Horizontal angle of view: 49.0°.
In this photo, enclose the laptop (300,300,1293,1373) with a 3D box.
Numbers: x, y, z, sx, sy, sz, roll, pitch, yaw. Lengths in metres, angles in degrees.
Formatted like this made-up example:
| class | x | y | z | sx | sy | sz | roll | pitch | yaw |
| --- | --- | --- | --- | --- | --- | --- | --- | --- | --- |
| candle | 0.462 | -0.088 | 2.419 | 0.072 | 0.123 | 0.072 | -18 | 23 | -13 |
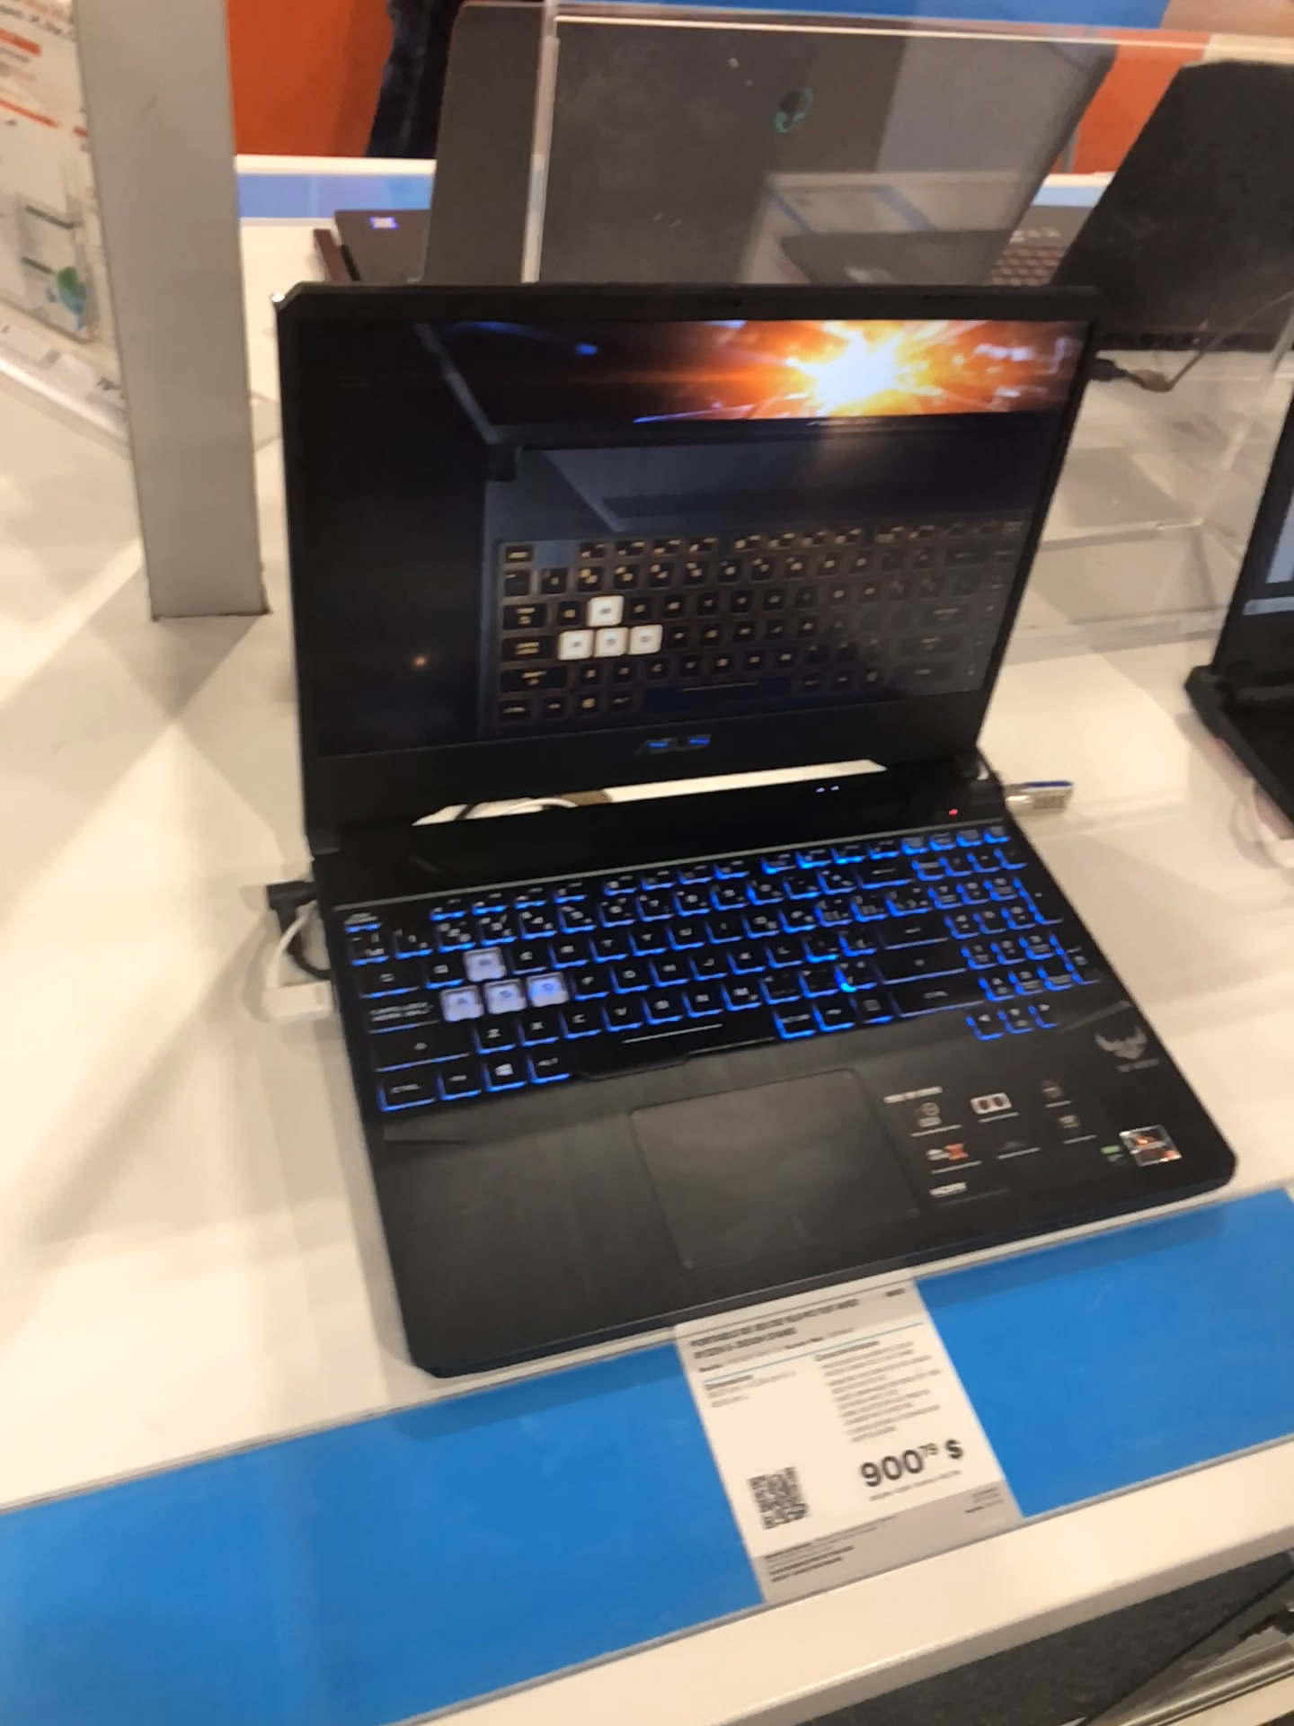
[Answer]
| class | x | y | z | sx | sy | sz | roll | pitch | yaw |
| --- | --- | --- | --- | --- | --- | --- | --- | --- | --- |
| laptop | 0.062 | -0.037 | 0.568 | 0.350 | 0.235 | 0.302 | -8 | 49 | -18 |
